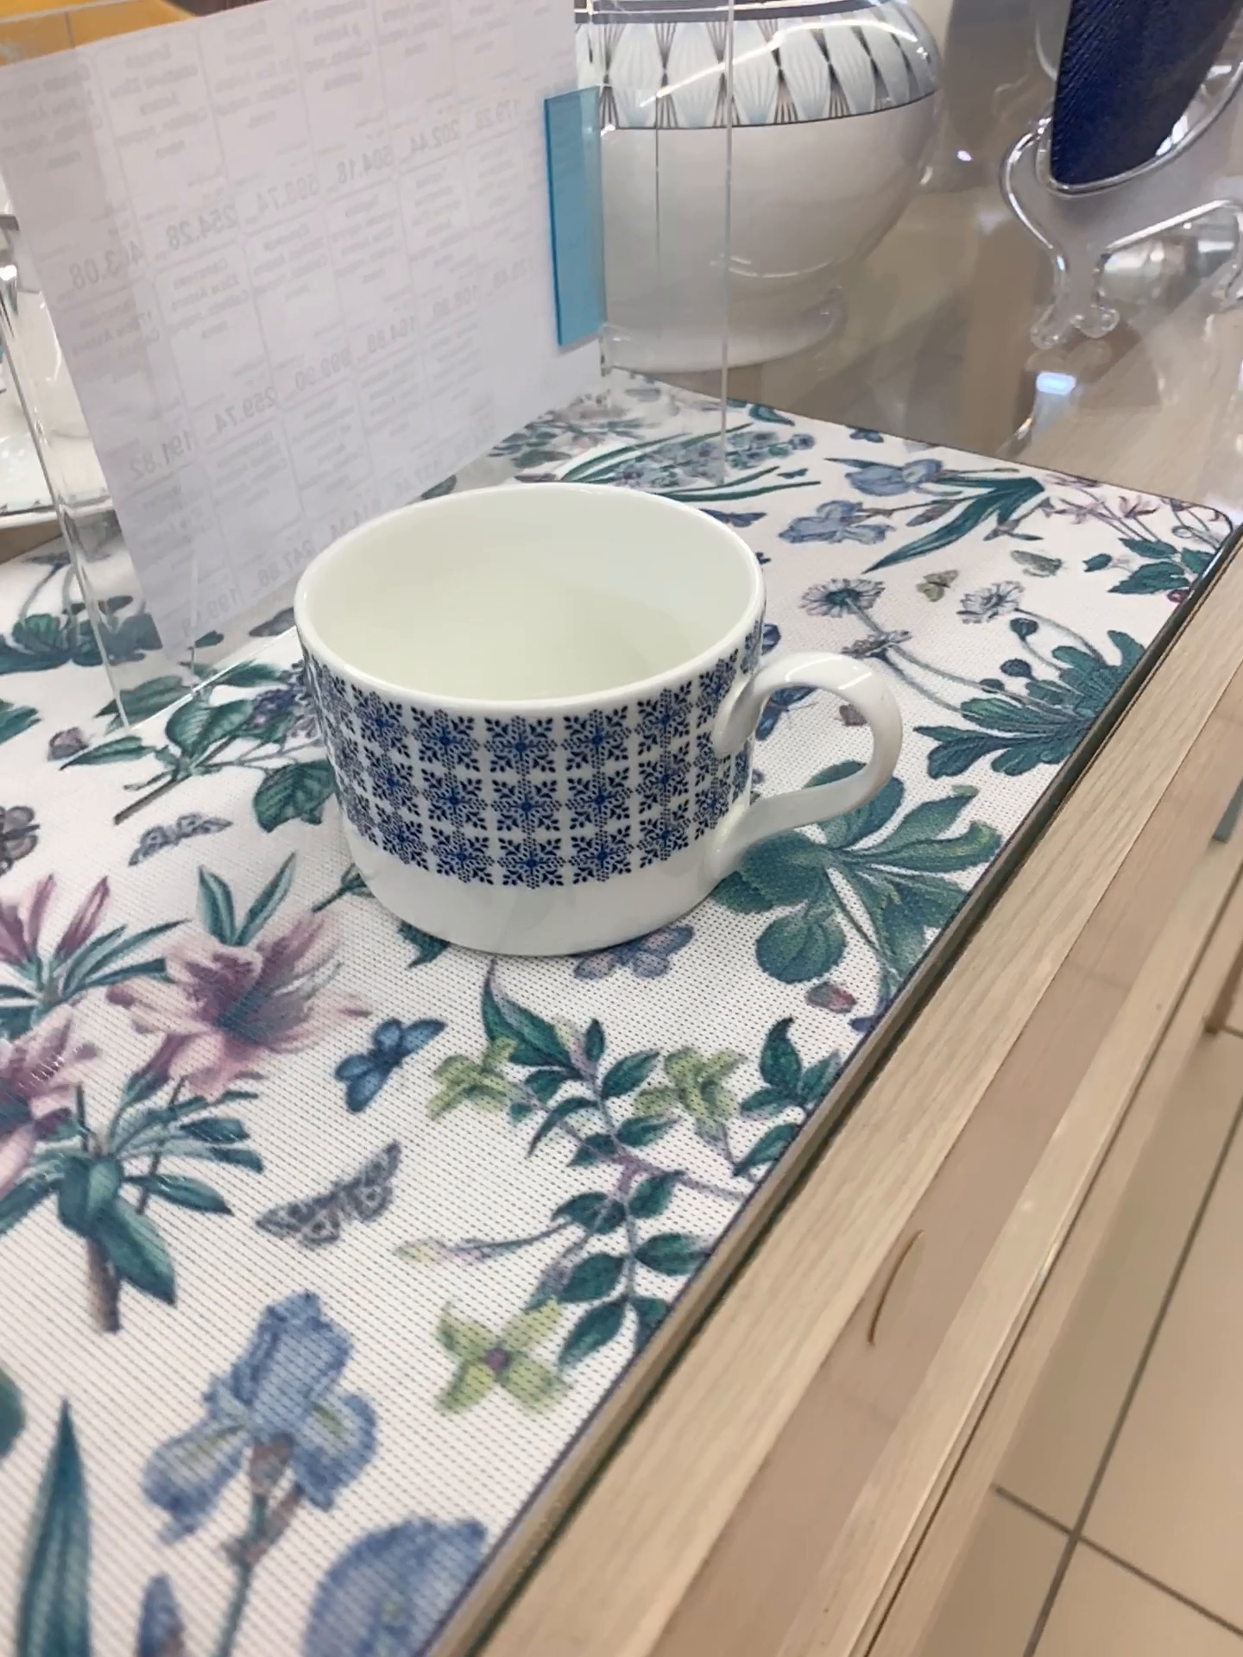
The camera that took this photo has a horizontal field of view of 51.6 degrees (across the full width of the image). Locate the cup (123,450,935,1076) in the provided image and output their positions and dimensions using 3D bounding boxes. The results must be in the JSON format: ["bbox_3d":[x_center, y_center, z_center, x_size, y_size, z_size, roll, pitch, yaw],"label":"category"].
[{"bbox_3d":[-0.011,-0.020,0.250,0.120,0.060,0.090,12,41,16],"label":"cup"}]
